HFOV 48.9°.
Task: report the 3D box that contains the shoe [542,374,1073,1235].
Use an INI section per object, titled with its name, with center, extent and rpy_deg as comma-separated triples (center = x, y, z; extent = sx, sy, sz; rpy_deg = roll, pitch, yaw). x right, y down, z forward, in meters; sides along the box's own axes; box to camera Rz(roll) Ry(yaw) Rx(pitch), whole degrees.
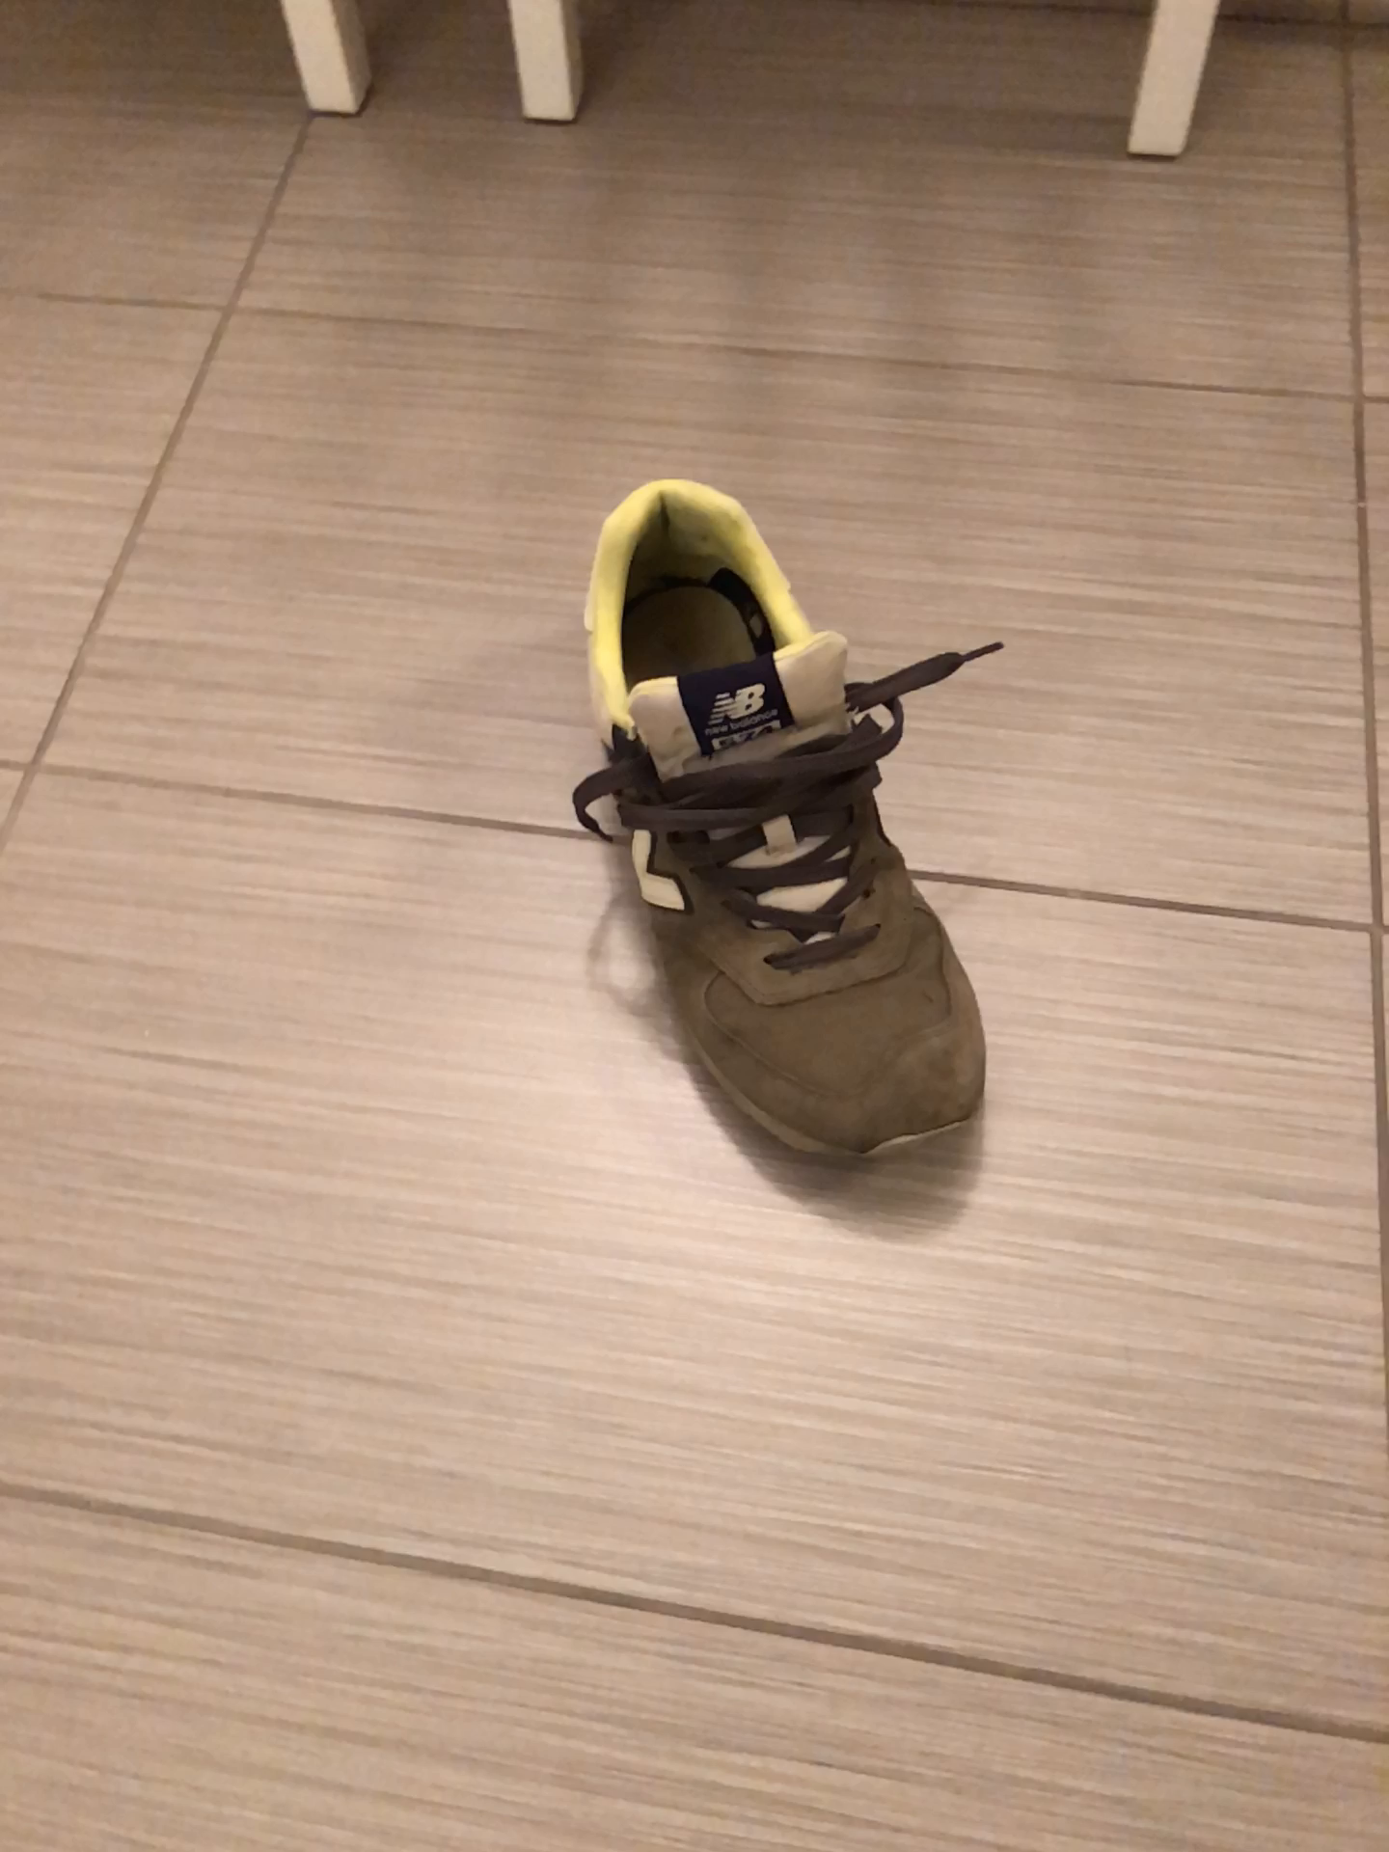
[shoe]
center = 0.032, -0.055, 0.603
extent = 0.130, 0.110, 0.311
rpy_deg = -11, 62, -1
